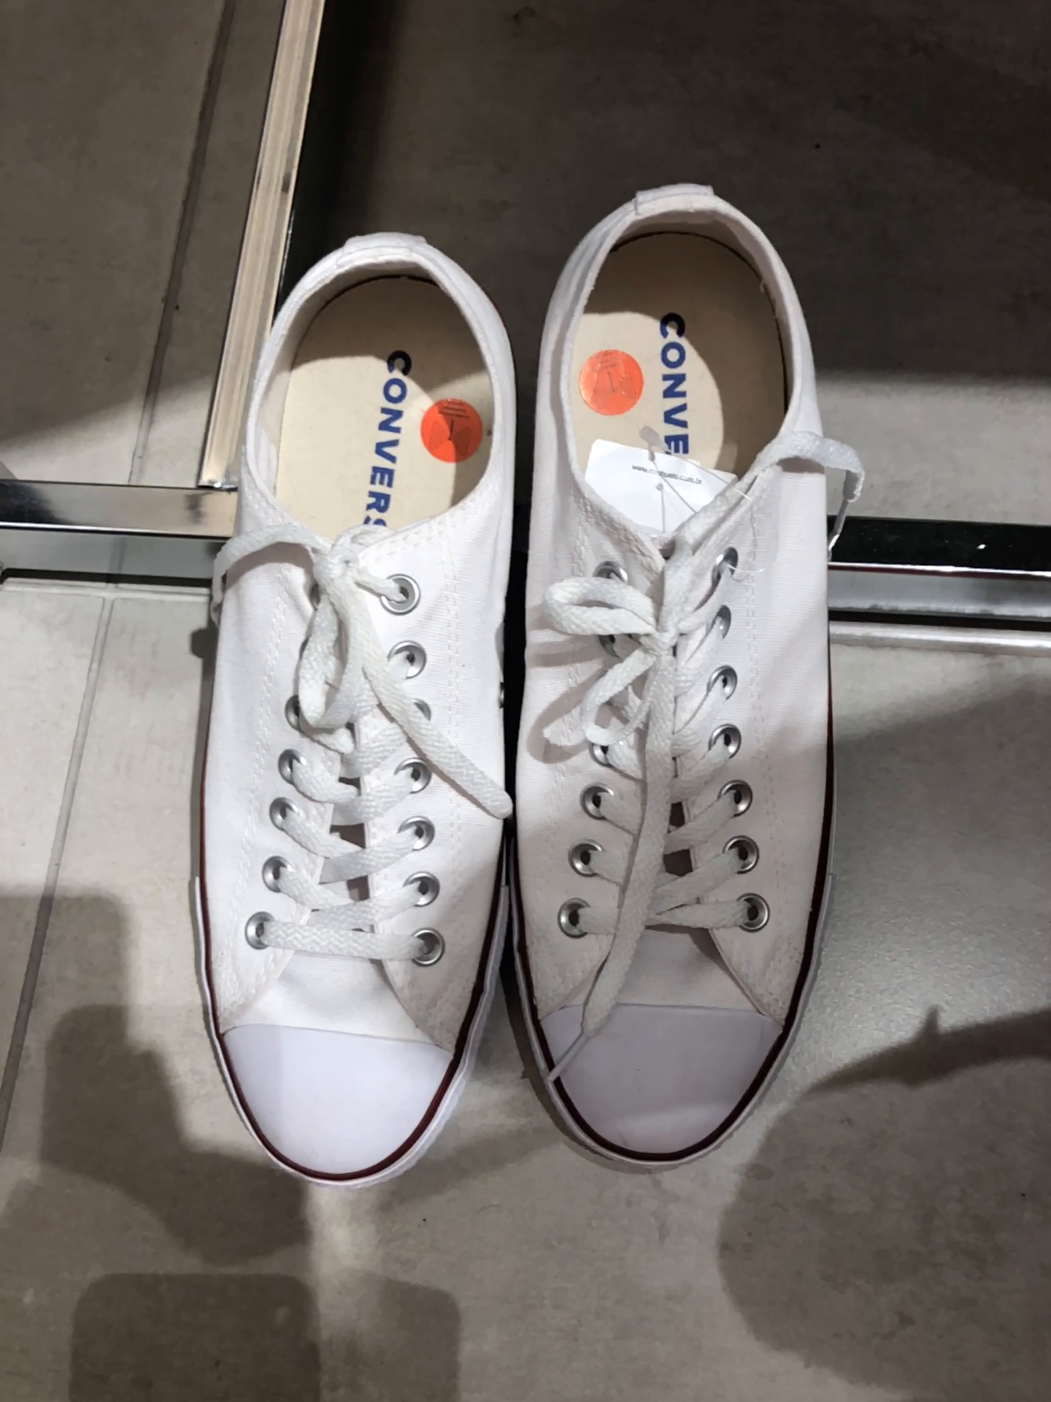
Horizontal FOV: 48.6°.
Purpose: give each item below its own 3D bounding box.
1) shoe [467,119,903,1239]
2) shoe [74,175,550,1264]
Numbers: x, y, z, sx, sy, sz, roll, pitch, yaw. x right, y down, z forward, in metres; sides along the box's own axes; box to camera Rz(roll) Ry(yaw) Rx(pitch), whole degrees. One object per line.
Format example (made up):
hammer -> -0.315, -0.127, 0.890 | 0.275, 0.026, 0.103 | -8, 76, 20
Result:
shoe -> 0.044, -0.006, 0.351 | 0.100, 0.090, 0.290 | 3, 95, 6
shoe -> -0.061, 0.004, 0.361 | 0.110, 0.090, 0.290 | 4, 95, 7
